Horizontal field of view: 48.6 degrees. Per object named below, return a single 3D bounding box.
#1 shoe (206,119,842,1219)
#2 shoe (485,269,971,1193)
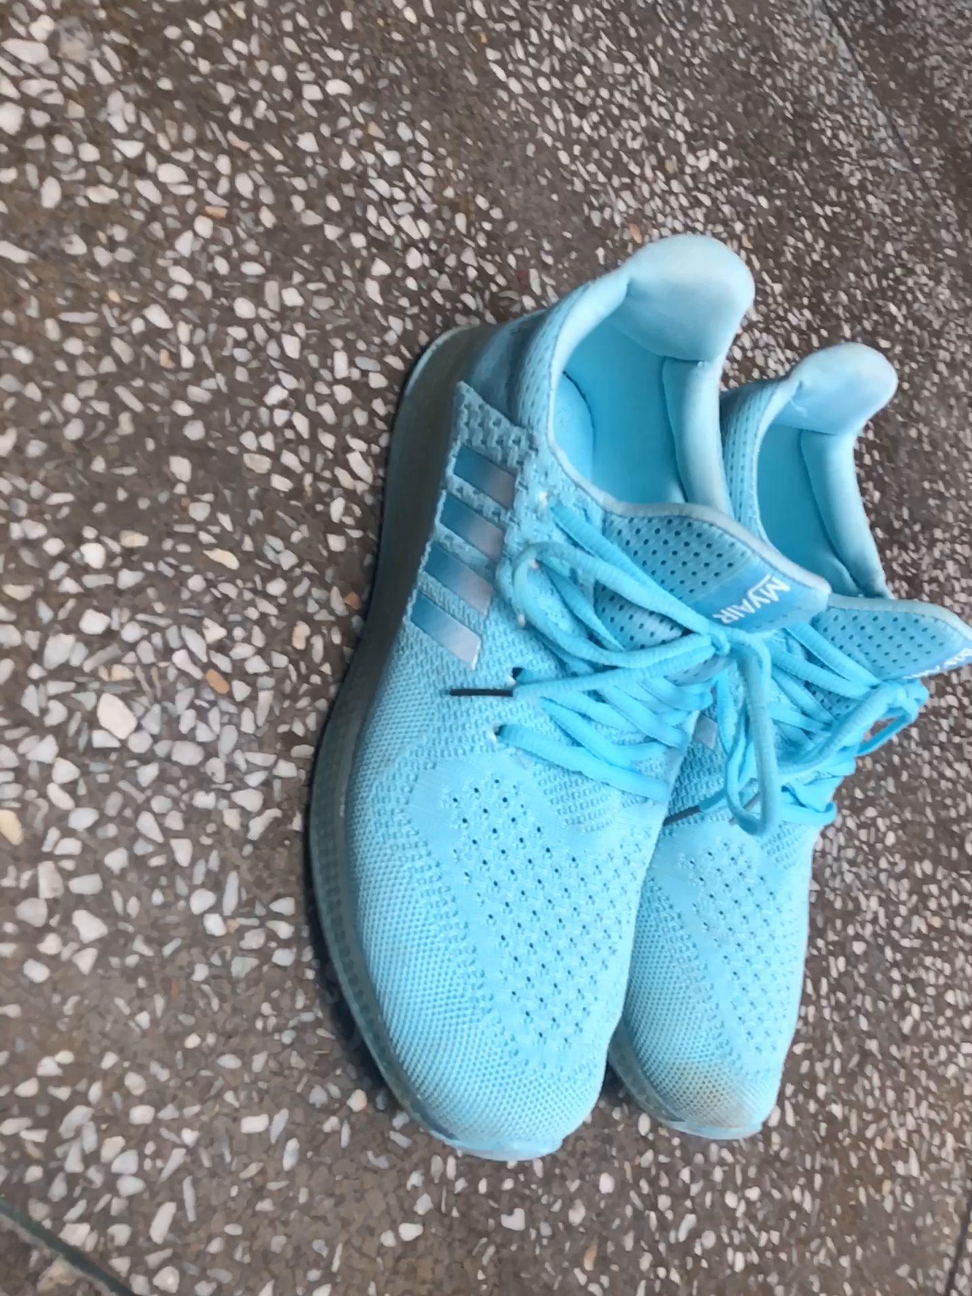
[{"bbox_3d":[0.017,0.011,0.334,0.121,0.125,0.271,18,67,-35],"label":"shoe"},{"bbox_3d":[0.093,0.033,0.390,0.121,0.125,0.271,16,69,-36],"label":"shoe"}]
